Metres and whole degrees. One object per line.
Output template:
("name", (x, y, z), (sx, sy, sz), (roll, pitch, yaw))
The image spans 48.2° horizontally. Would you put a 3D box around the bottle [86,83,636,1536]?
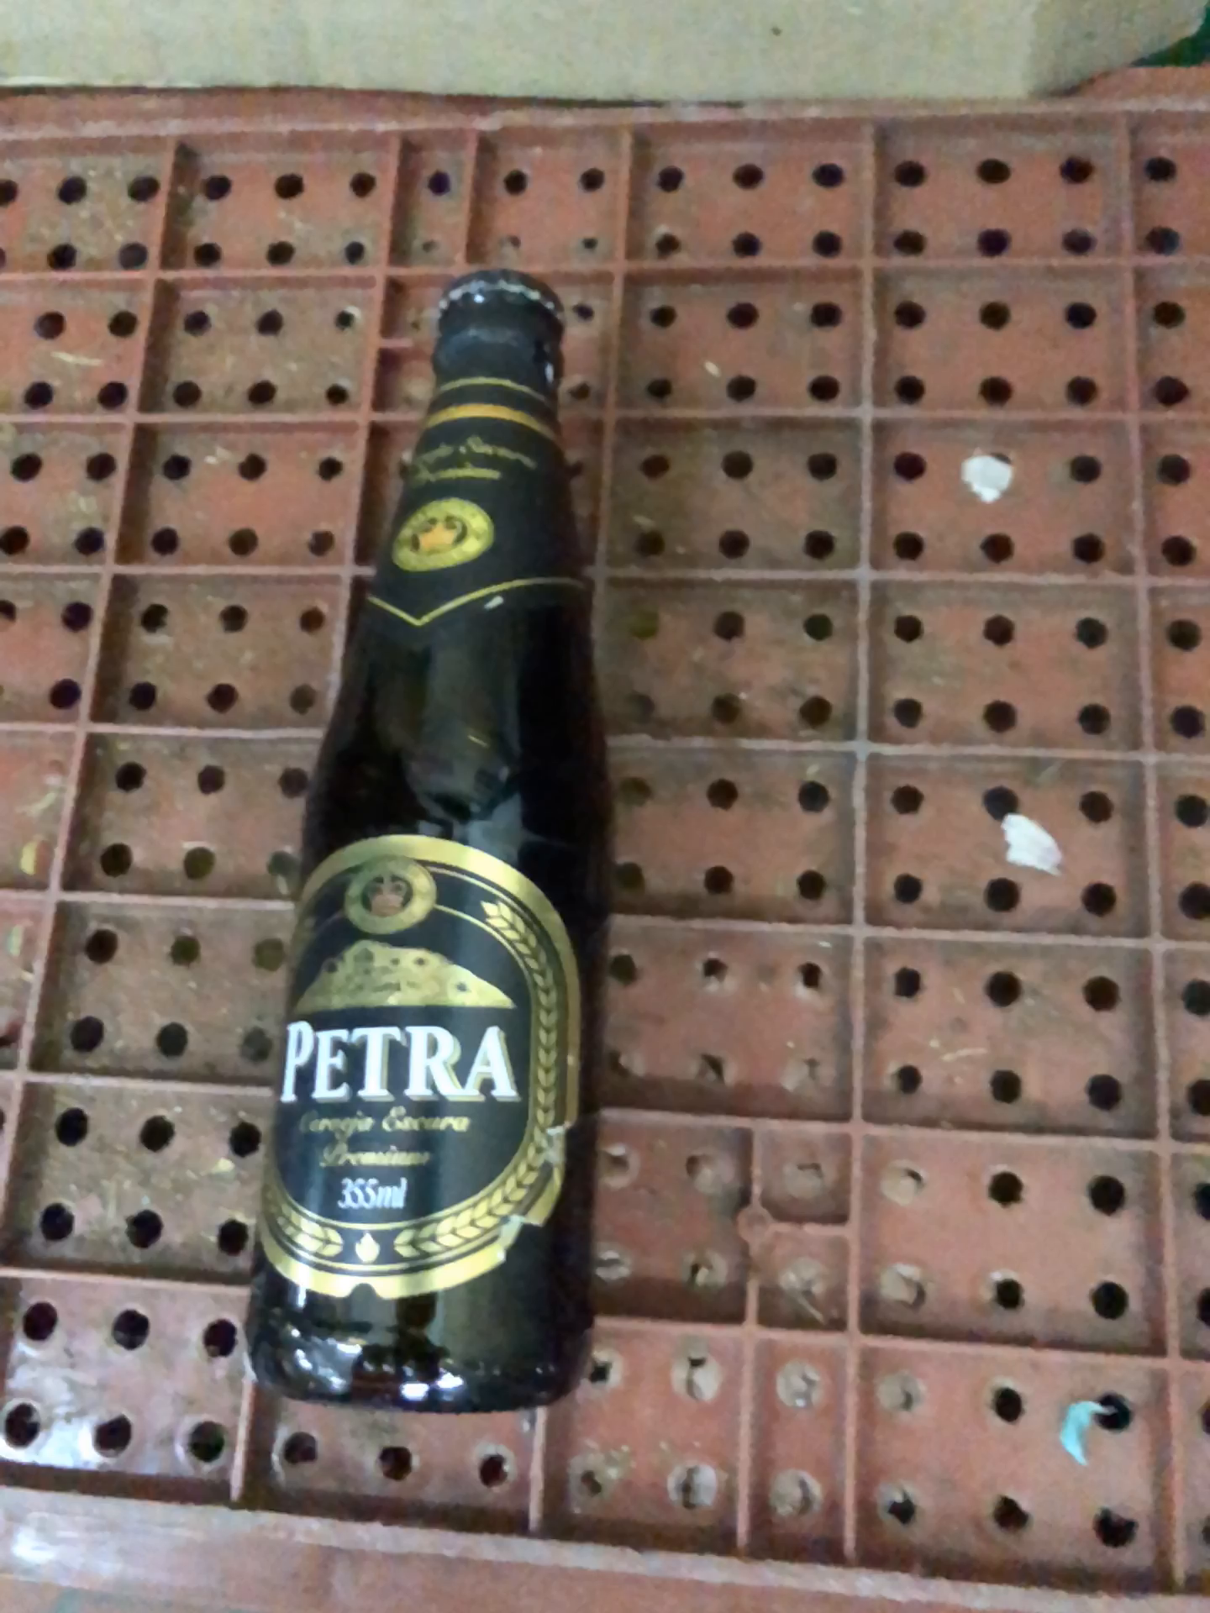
("bottle", (-0.034, -0.010, 0.256), (0.070, 0.060, 0.250), (0, 73, 6))
